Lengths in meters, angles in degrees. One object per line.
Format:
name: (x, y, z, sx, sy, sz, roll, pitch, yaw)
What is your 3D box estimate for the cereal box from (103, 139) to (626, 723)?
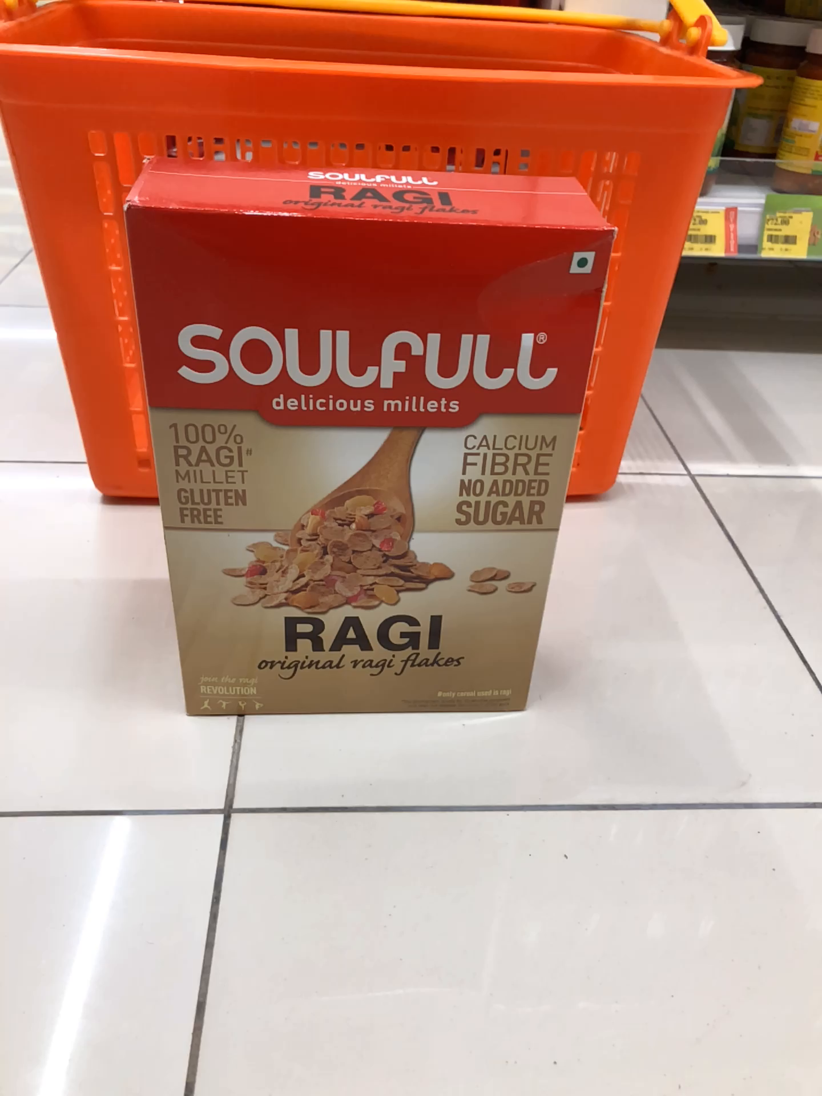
cereal box: (-0.023, -0.035, 0.386, 0.170, 0.238, 0.060, 0, 34, -6)
